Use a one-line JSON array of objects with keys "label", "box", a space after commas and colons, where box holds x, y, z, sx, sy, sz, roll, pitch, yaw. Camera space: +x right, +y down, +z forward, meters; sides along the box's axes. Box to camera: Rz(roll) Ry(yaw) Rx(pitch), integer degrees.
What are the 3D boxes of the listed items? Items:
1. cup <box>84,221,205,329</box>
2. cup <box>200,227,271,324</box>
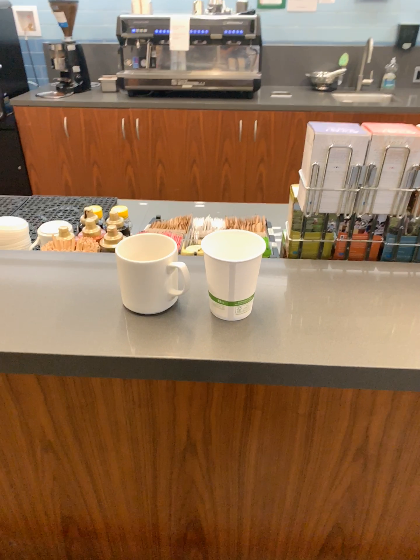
[{"label": "cup", "box": [-0.085, -0.010, 0.590, 0.130, 0.089, 0.090, 13, 35, 20]}, {"label": "cup", "box": [0.034, -0.007, 0.610, 0.090, 0.109, 0.080, 1, 33, 1]}]
